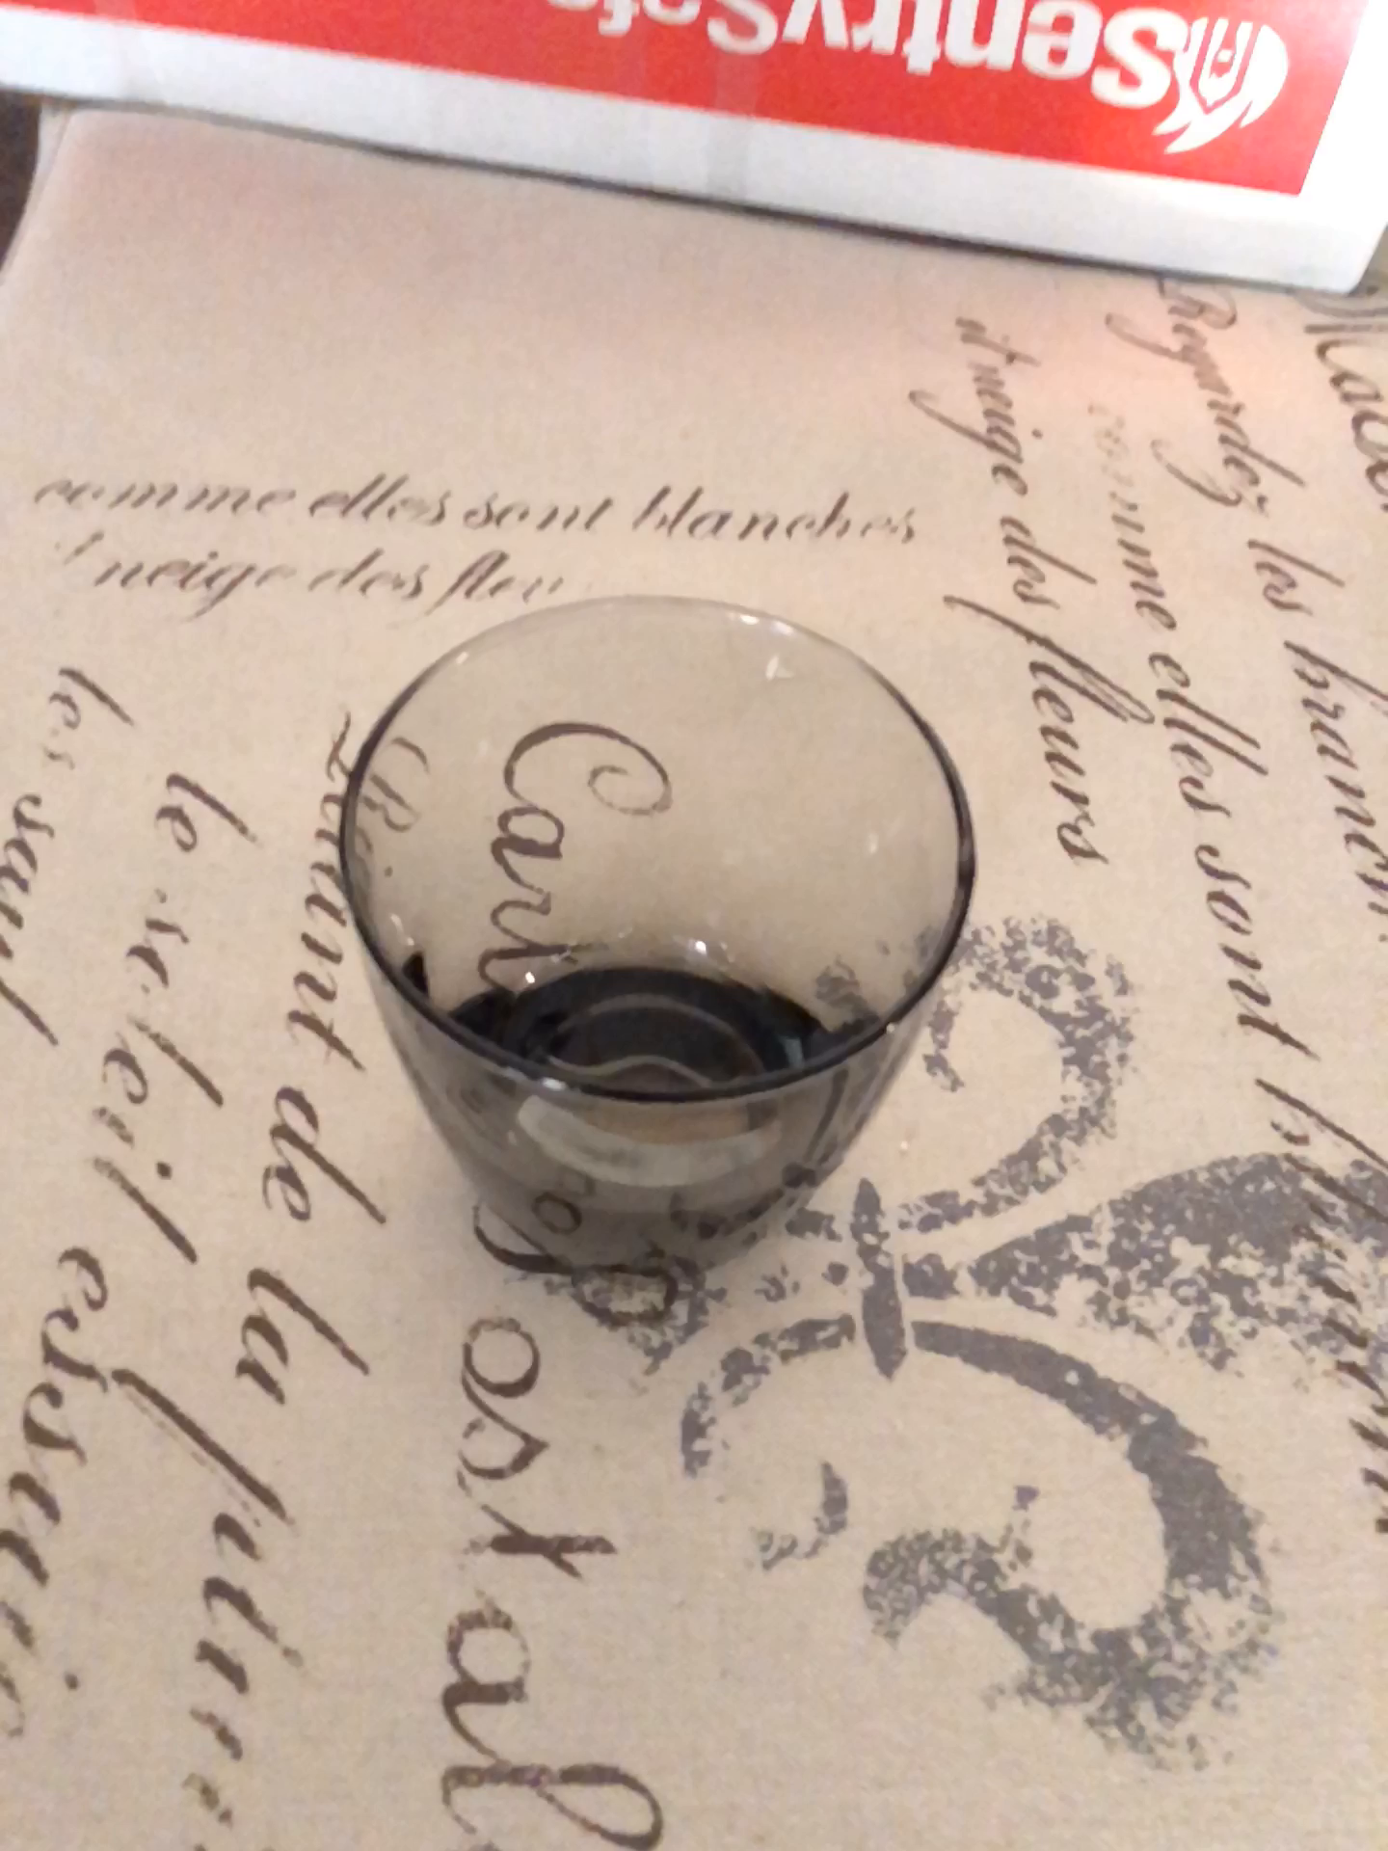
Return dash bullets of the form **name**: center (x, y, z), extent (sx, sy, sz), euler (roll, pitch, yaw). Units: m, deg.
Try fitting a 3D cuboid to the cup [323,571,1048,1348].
- **cup**: center (-0.006, 0.008, 0.249), extent (0.088, 0.092, 0.087), euler (2, 56, -3)
